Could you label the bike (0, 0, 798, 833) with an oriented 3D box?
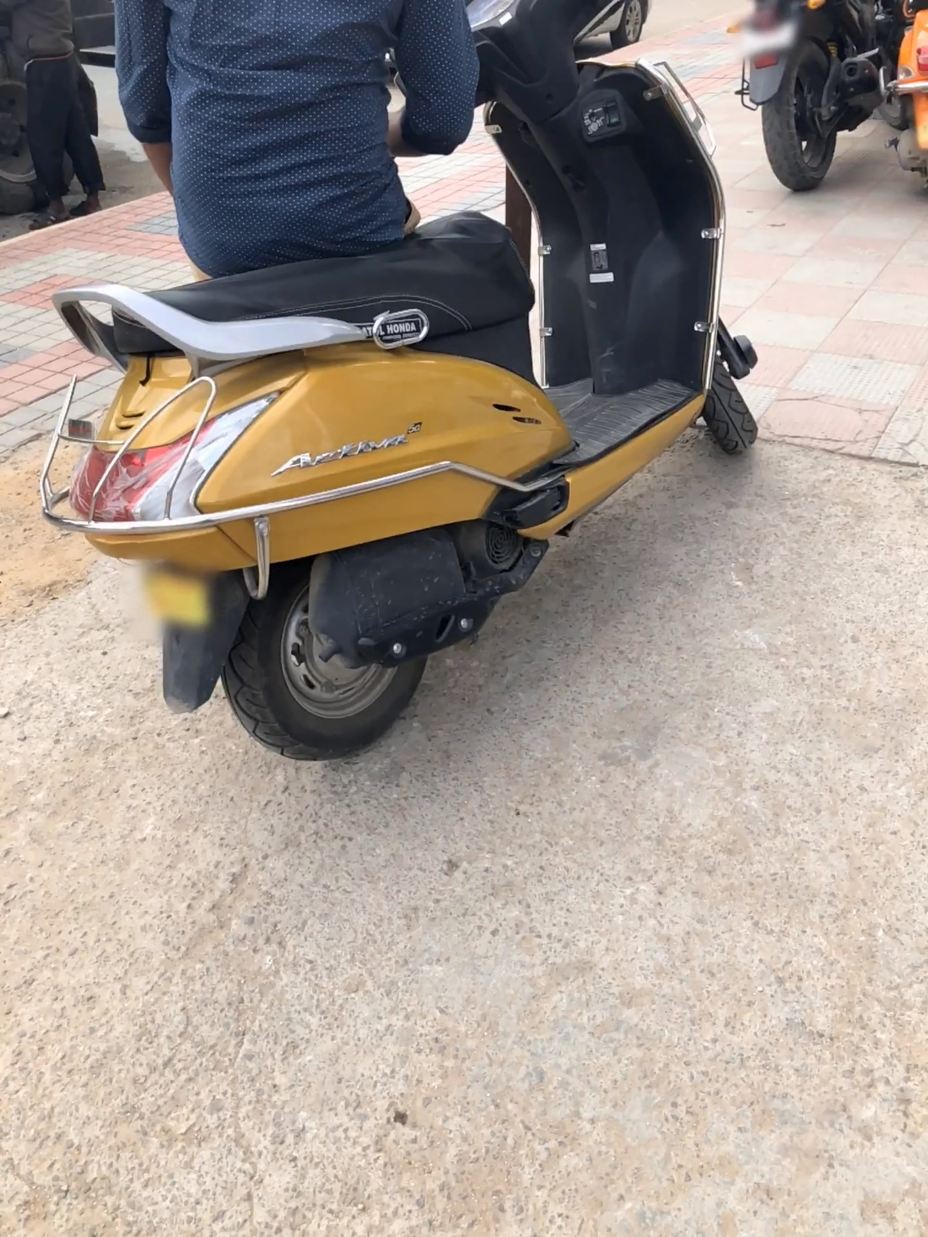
[{"bbox_3d":[-0.038,-0.668,1.875,0.585,1.153,1.535,21,44,28],"label":"bike"}]
